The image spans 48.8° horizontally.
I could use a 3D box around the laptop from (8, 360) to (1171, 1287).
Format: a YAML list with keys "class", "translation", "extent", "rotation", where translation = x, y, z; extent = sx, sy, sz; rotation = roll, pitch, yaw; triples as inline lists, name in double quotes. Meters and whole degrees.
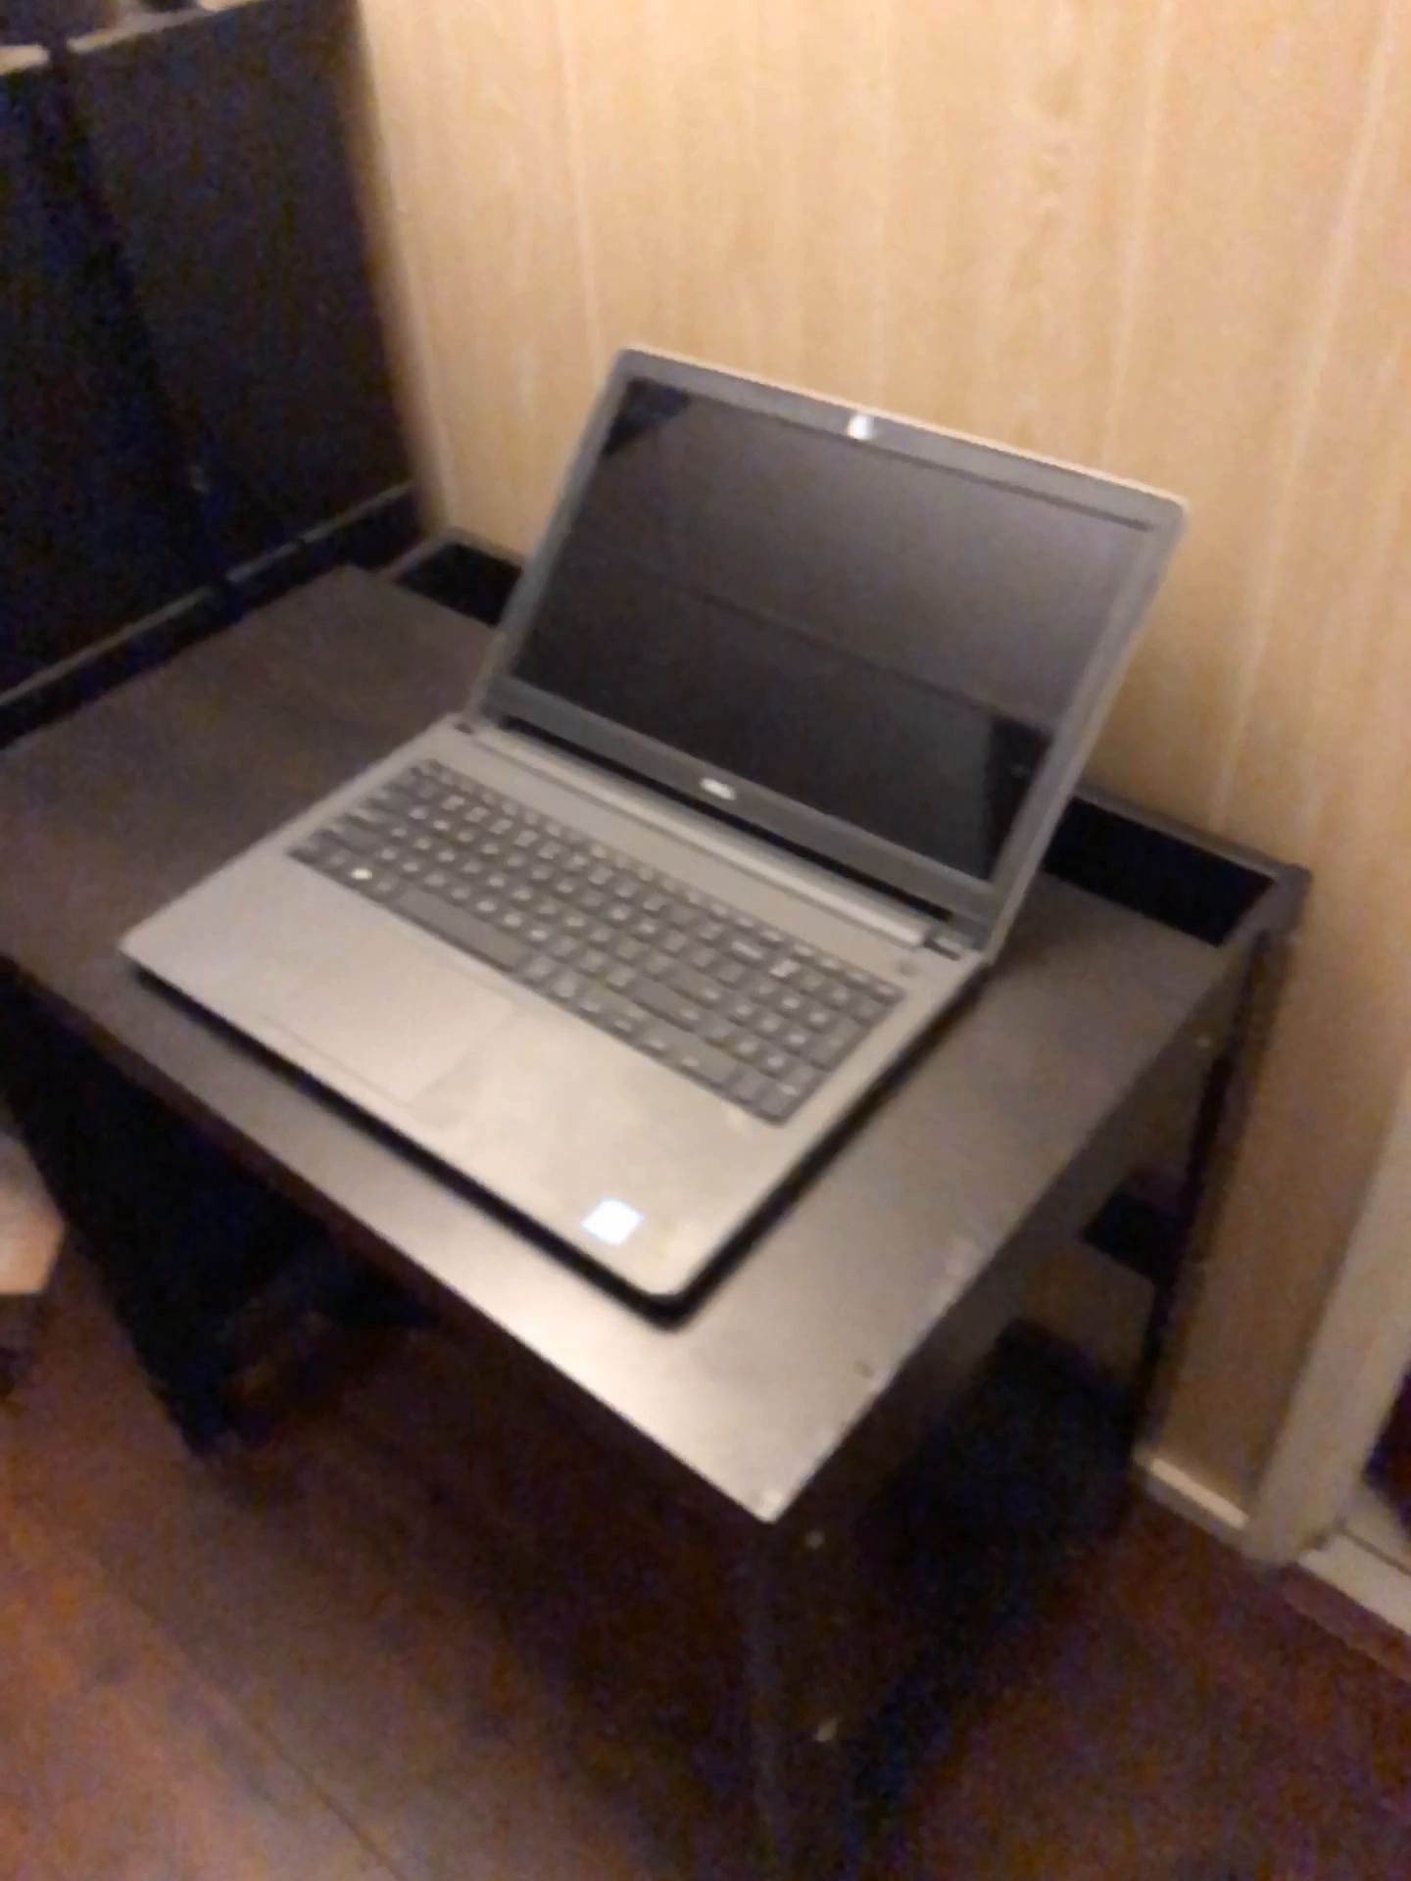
- class: "laptop"
  translation: [-0.039, -0.106, 0.802]
  extent: [0.369, 0.172, 0.427]
  rotation: [26, 49, 29]
